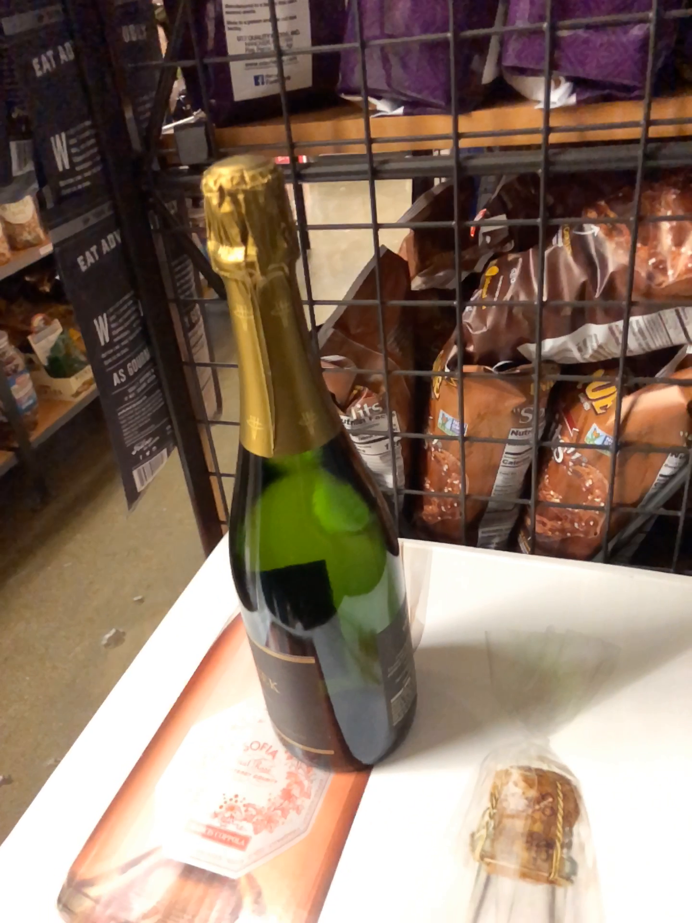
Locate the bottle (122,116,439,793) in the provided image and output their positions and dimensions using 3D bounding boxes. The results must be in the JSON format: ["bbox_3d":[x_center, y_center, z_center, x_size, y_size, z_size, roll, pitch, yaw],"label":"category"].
[{"bbox_3d":[-0.014,0.015,0.361,0.090,0.309,0.090,-5,31,3],"label":"bottle"}]
